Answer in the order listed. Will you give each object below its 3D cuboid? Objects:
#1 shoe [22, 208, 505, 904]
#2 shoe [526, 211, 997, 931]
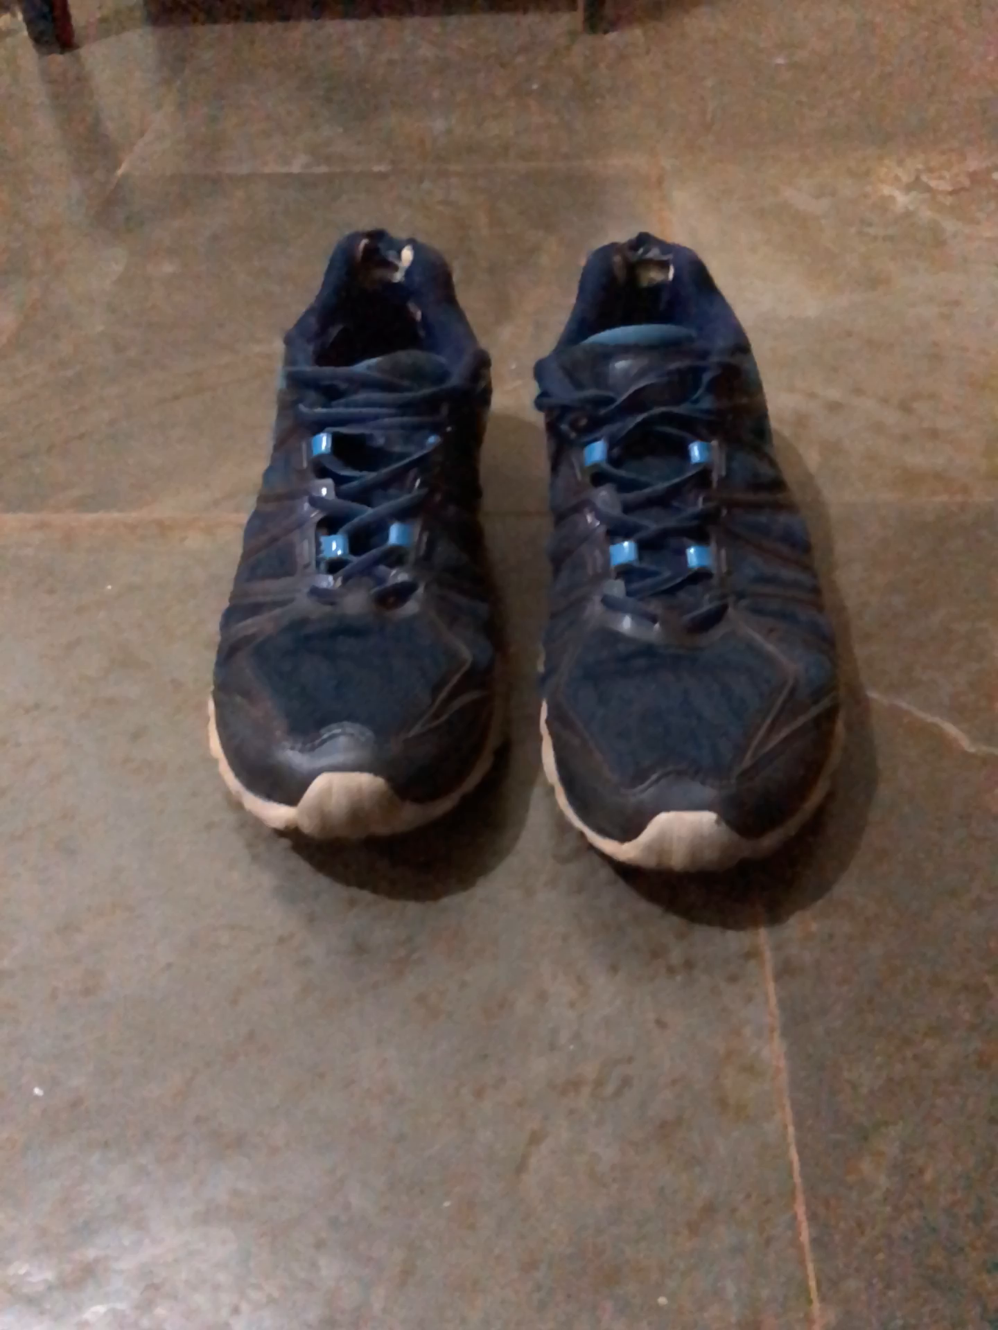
[{"bbox_3d":[-0.062,-0.060,0.427,0.120,0.109,0.282,-1,46,2],"label":"shoe"},{"bbox_3d":[0.076,-0.055,0.416,0.120,0.109,0.282,0,46,4],"label":"shoe"}]
